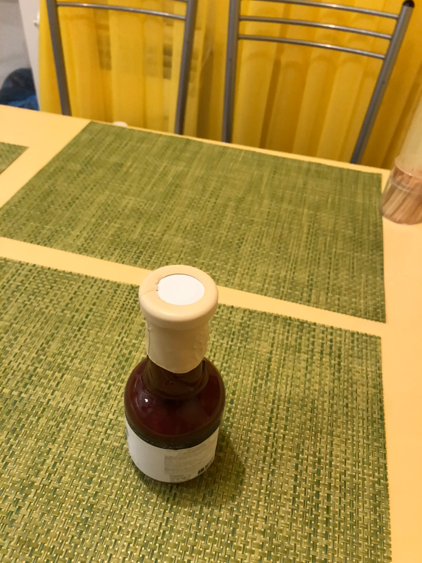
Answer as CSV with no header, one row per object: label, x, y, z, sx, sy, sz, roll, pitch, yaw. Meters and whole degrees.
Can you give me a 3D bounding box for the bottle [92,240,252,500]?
bottle,-0.020,0.062,0.286,0.070,0.159,0.071,3,43,-3
